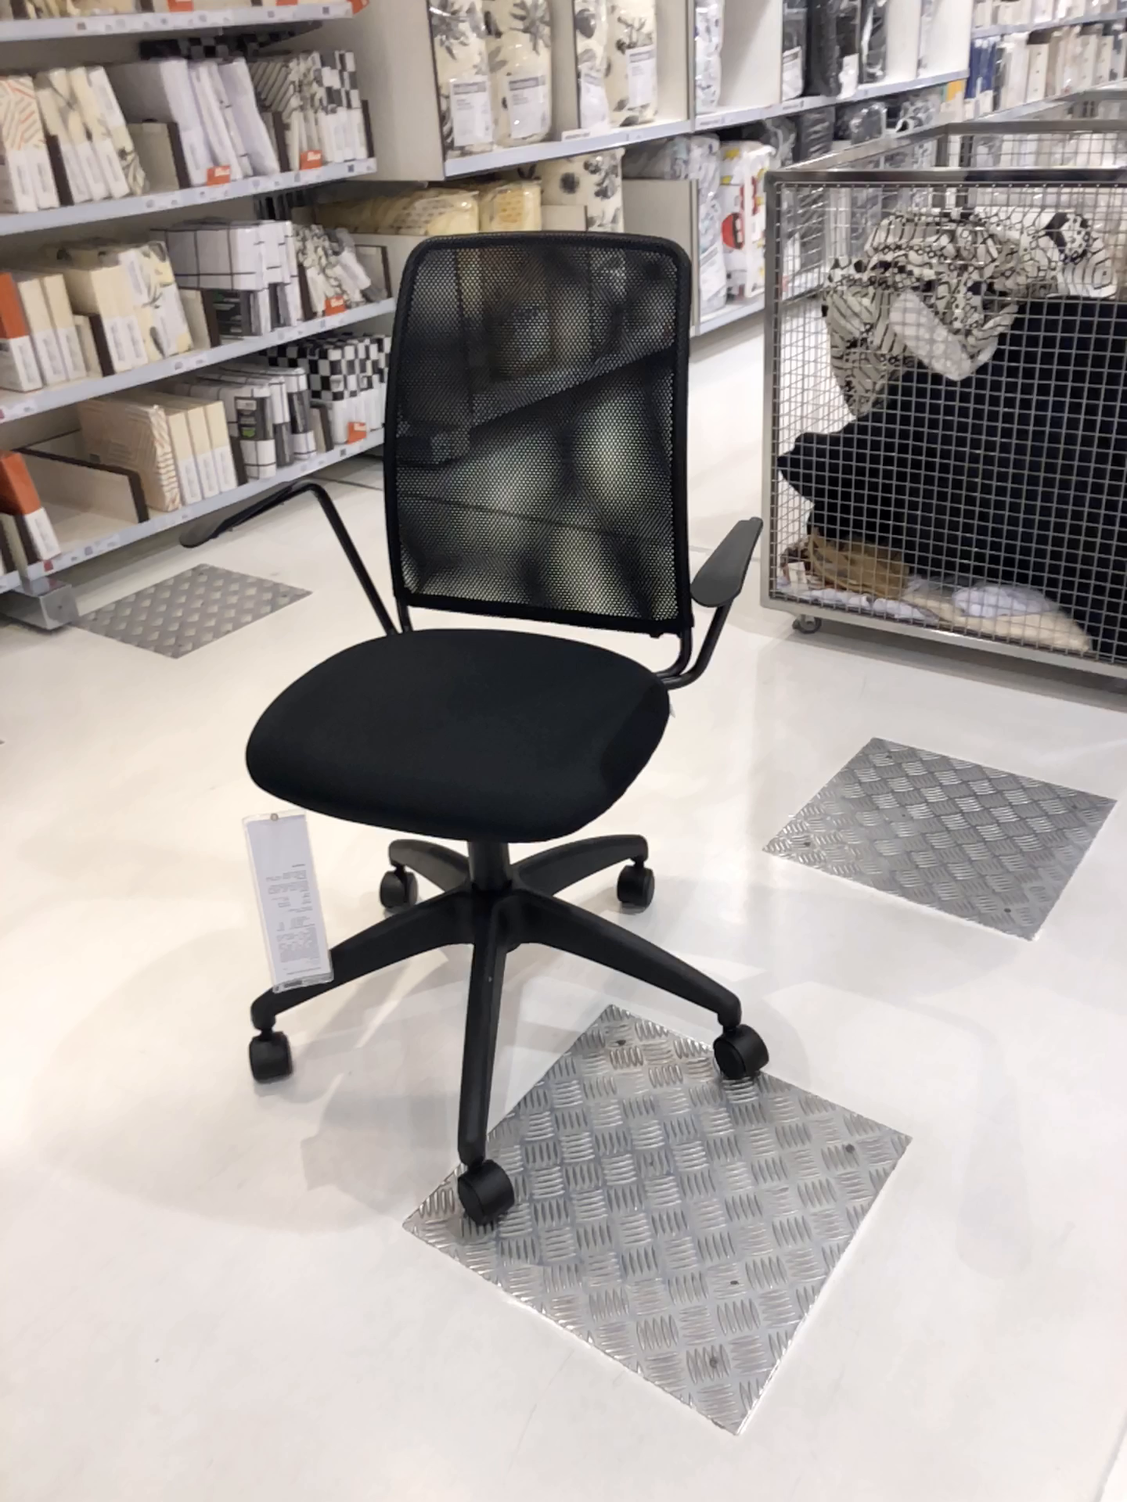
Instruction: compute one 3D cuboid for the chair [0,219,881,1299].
[{"bbox_3d":[-0.061,-0.066,1.307,0.631,0.814,0.695,8,32,20],"label":"chair"}]
